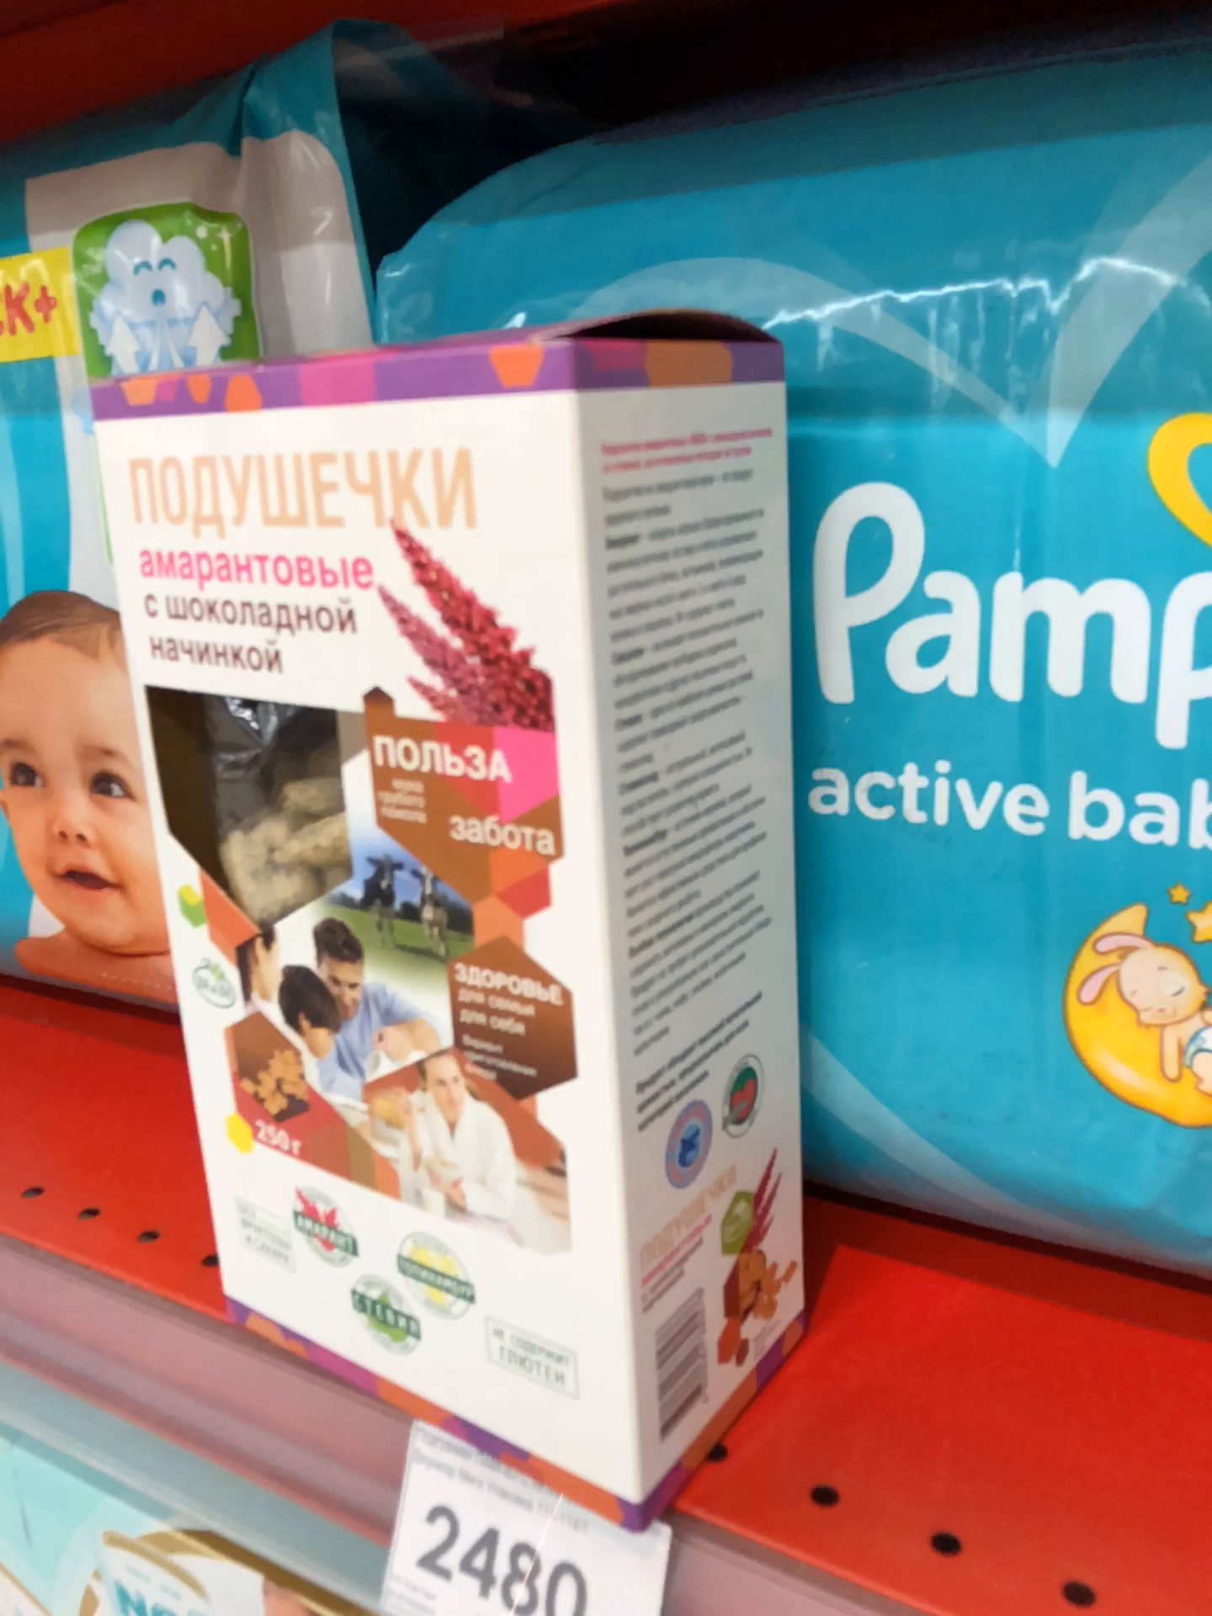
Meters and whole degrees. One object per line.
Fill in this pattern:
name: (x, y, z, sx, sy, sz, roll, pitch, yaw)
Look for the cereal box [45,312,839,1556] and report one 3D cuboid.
cereal box: (-0.030, 0.017, 0.285, 0.140, 0.219, 0.070, 9, 20, 35)
